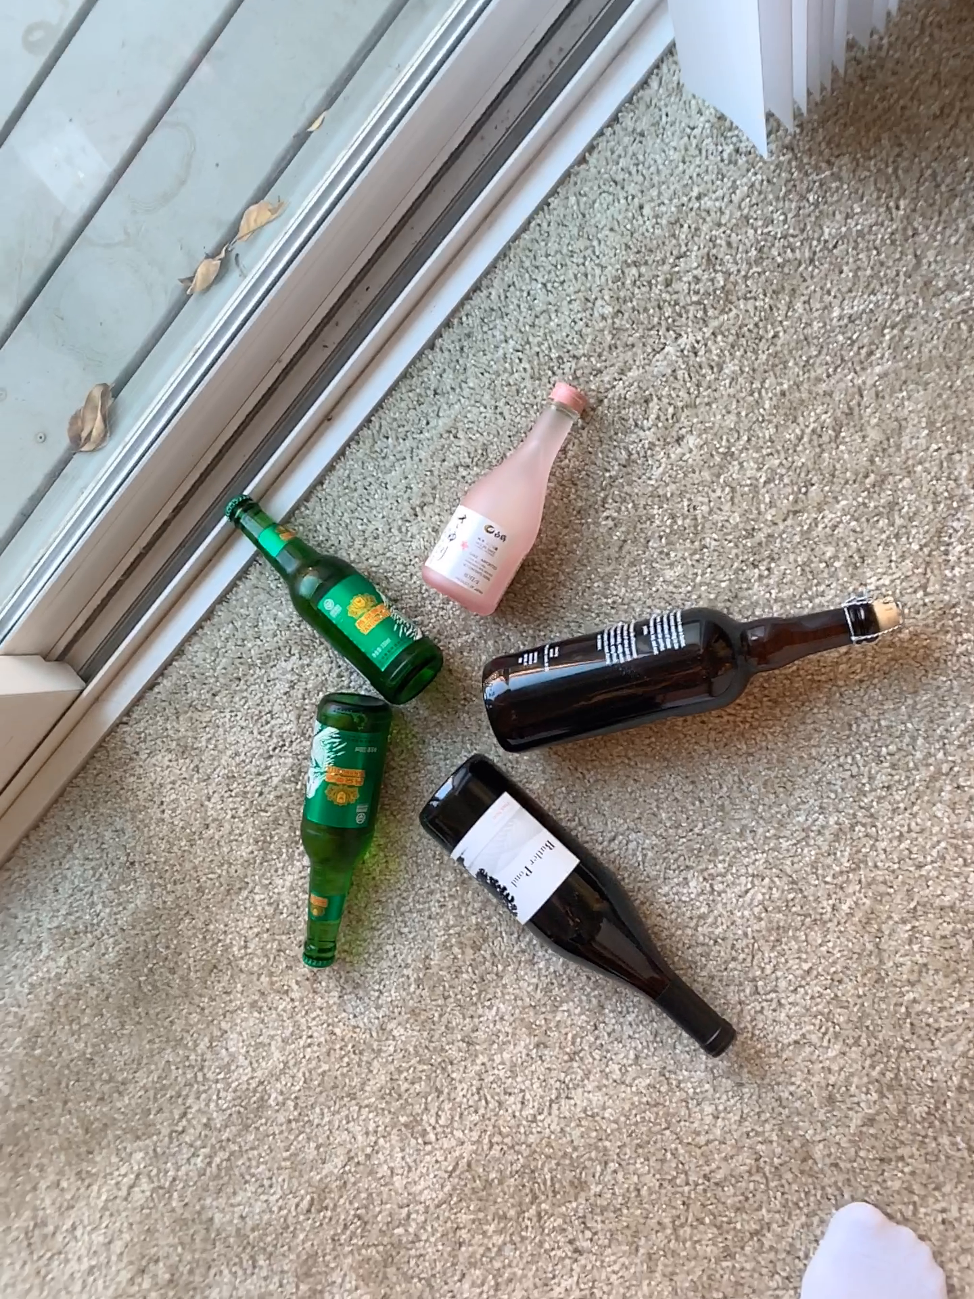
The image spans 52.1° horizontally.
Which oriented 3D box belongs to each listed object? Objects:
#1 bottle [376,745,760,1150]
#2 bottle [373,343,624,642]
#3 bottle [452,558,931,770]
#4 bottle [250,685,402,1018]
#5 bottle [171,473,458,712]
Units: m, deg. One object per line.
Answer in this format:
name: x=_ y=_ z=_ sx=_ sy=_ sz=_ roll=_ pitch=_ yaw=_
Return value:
bottle: x=0.060 y=0.205 z=0.731 sx=0.300 sy=0.090 sz=0.070 roll=44 pitch=103 yaw=13
bottle: x=0.010 y=-0.109 z=0.739 sx=0.070 sy=0.090 sz=0.200 roll=35 pitch=101 yaw=14
bottle: x=0.140 y=0.014 z=0.715 sx=0.311 sy=0.090 sz=0.070 roll=-15 pitch=86 yaw=18
bottle: x=-0.126 y=0.154 z=0.794 sx=0.060 sy=0.090 sz=0.240 roll=8 pitch=93 yaw=18
bottle: x=-0.140 y=-0.047 z=0.812 sx=0.230 sy=0.080 sz=0.060 roll=39 pitch=102 yaw=14
